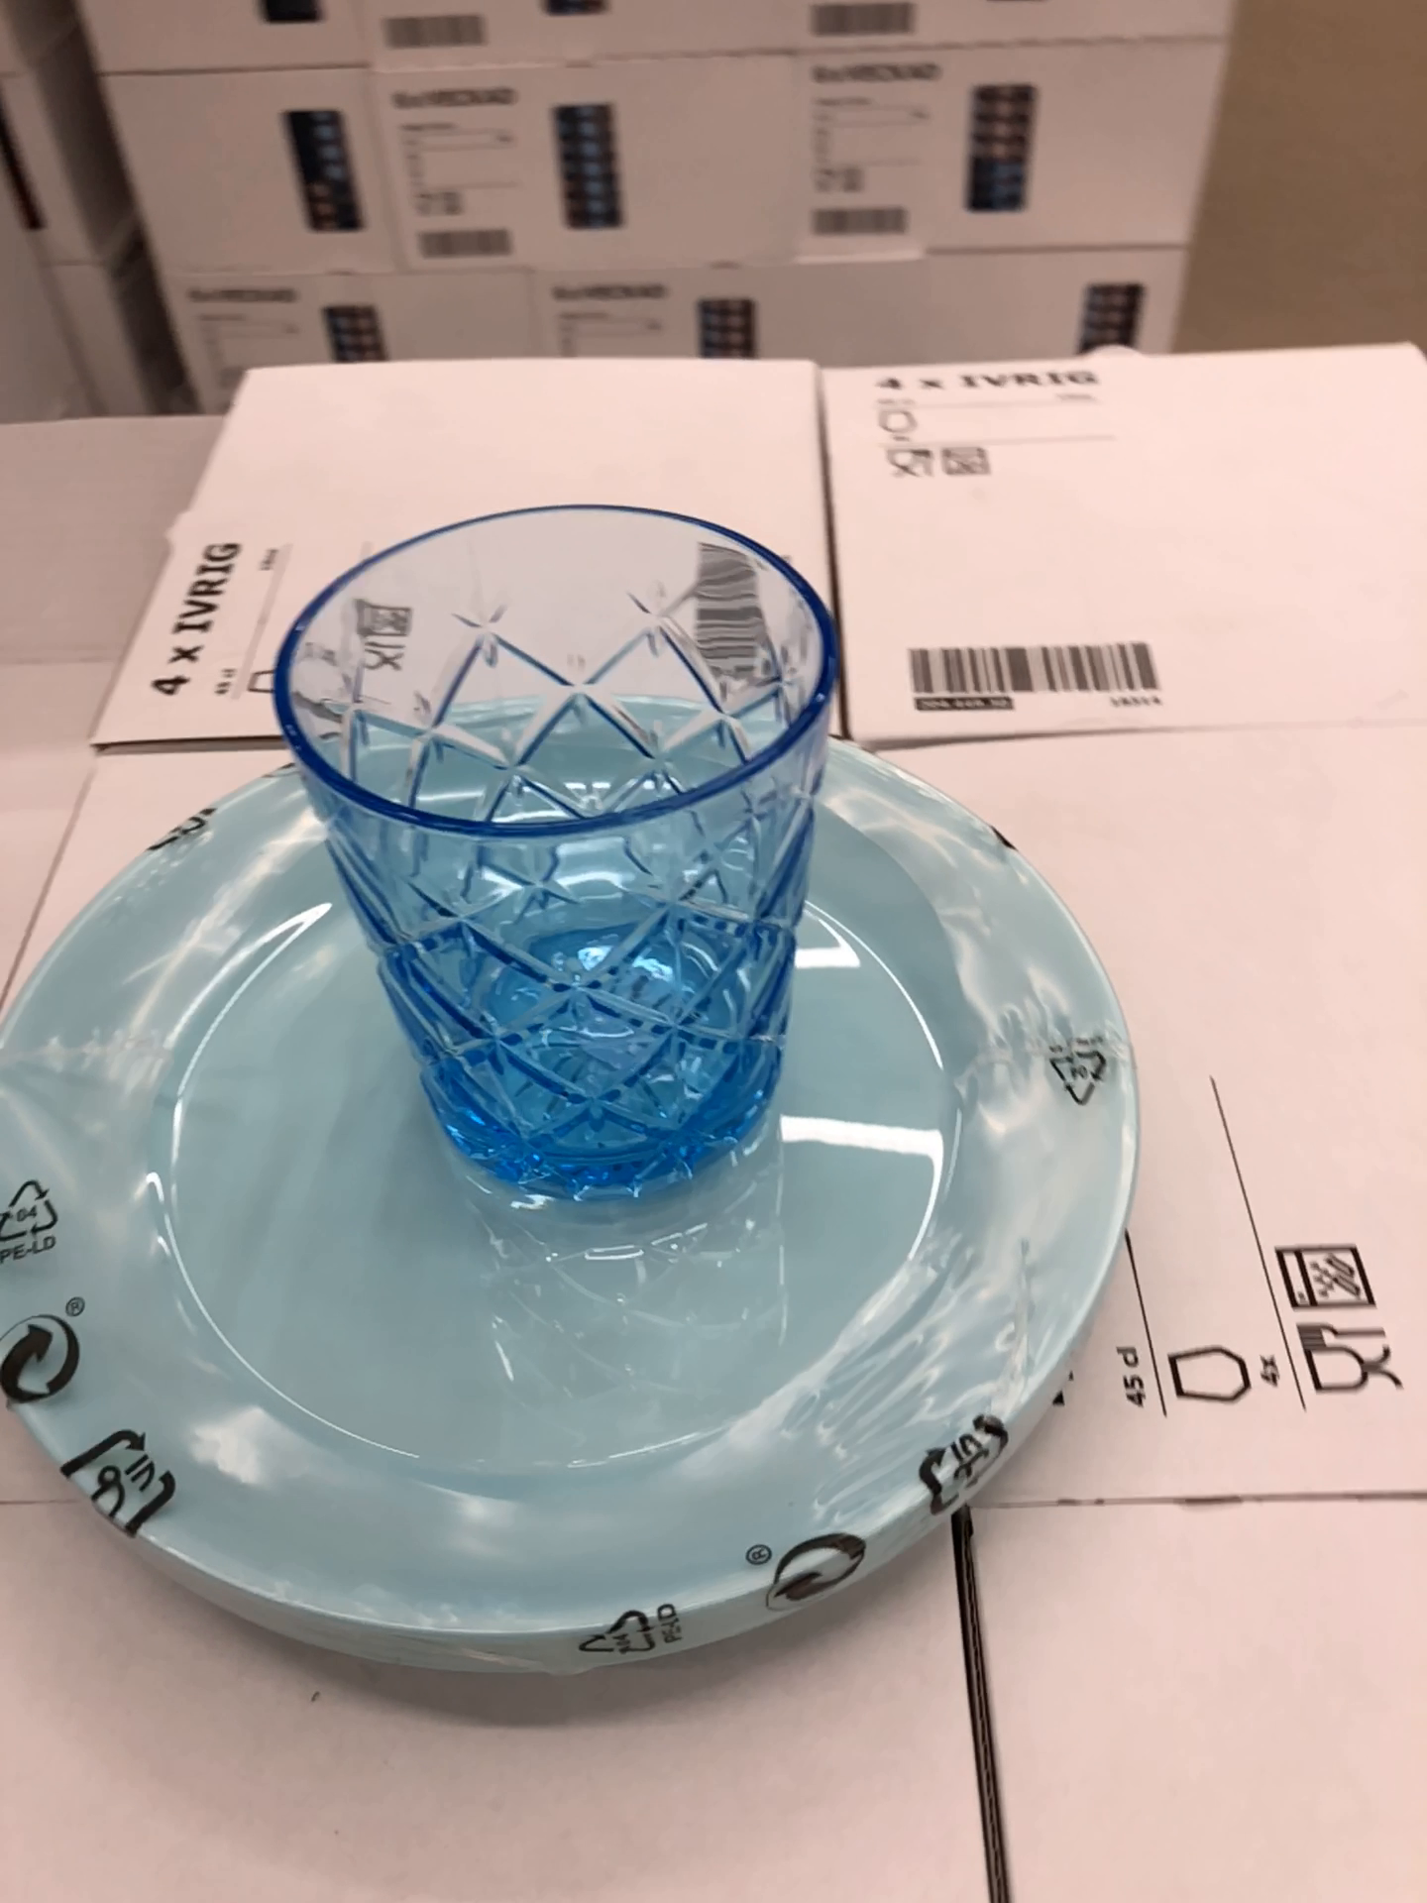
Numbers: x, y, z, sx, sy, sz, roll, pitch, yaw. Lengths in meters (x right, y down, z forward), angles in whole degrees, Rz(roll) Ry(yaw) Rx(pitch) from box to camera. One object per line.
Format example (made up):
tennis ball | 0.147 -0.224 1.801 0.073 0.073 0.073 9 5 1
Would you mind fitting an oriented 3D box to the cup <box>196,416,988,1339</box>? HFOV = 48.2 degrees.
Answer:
cup | -0.020 -0.014 0.270 0.090 0.100 0.090 -2 46 2
